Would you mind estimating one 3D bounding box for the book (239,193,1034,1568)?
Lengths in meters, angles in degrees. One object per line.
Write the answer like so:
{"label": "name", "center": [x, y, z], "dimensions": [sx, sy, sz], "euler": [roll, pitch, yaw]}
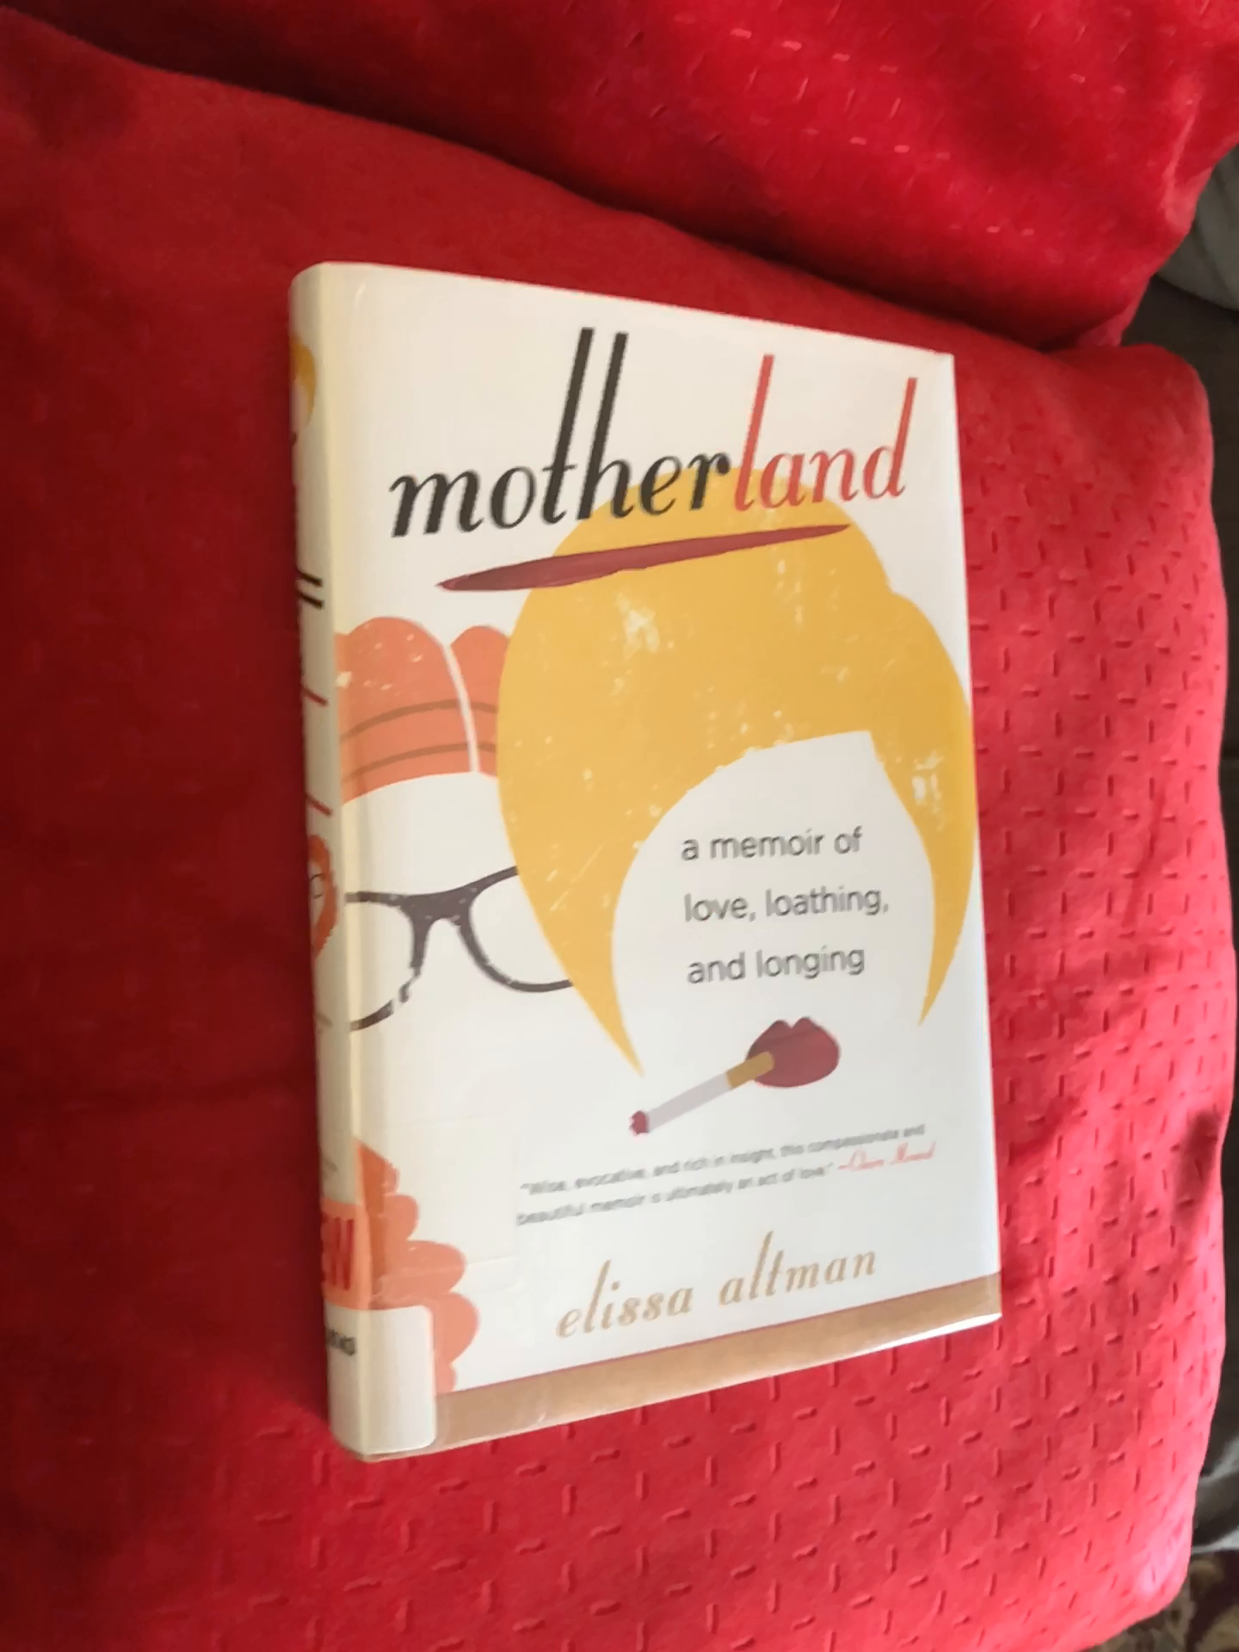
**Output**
{"label": "book", "center": [0.007, 0.007, 0.261], "dimensions": [0.141, 0.040, 0.210], "euler": [-2, 89, -28]}
